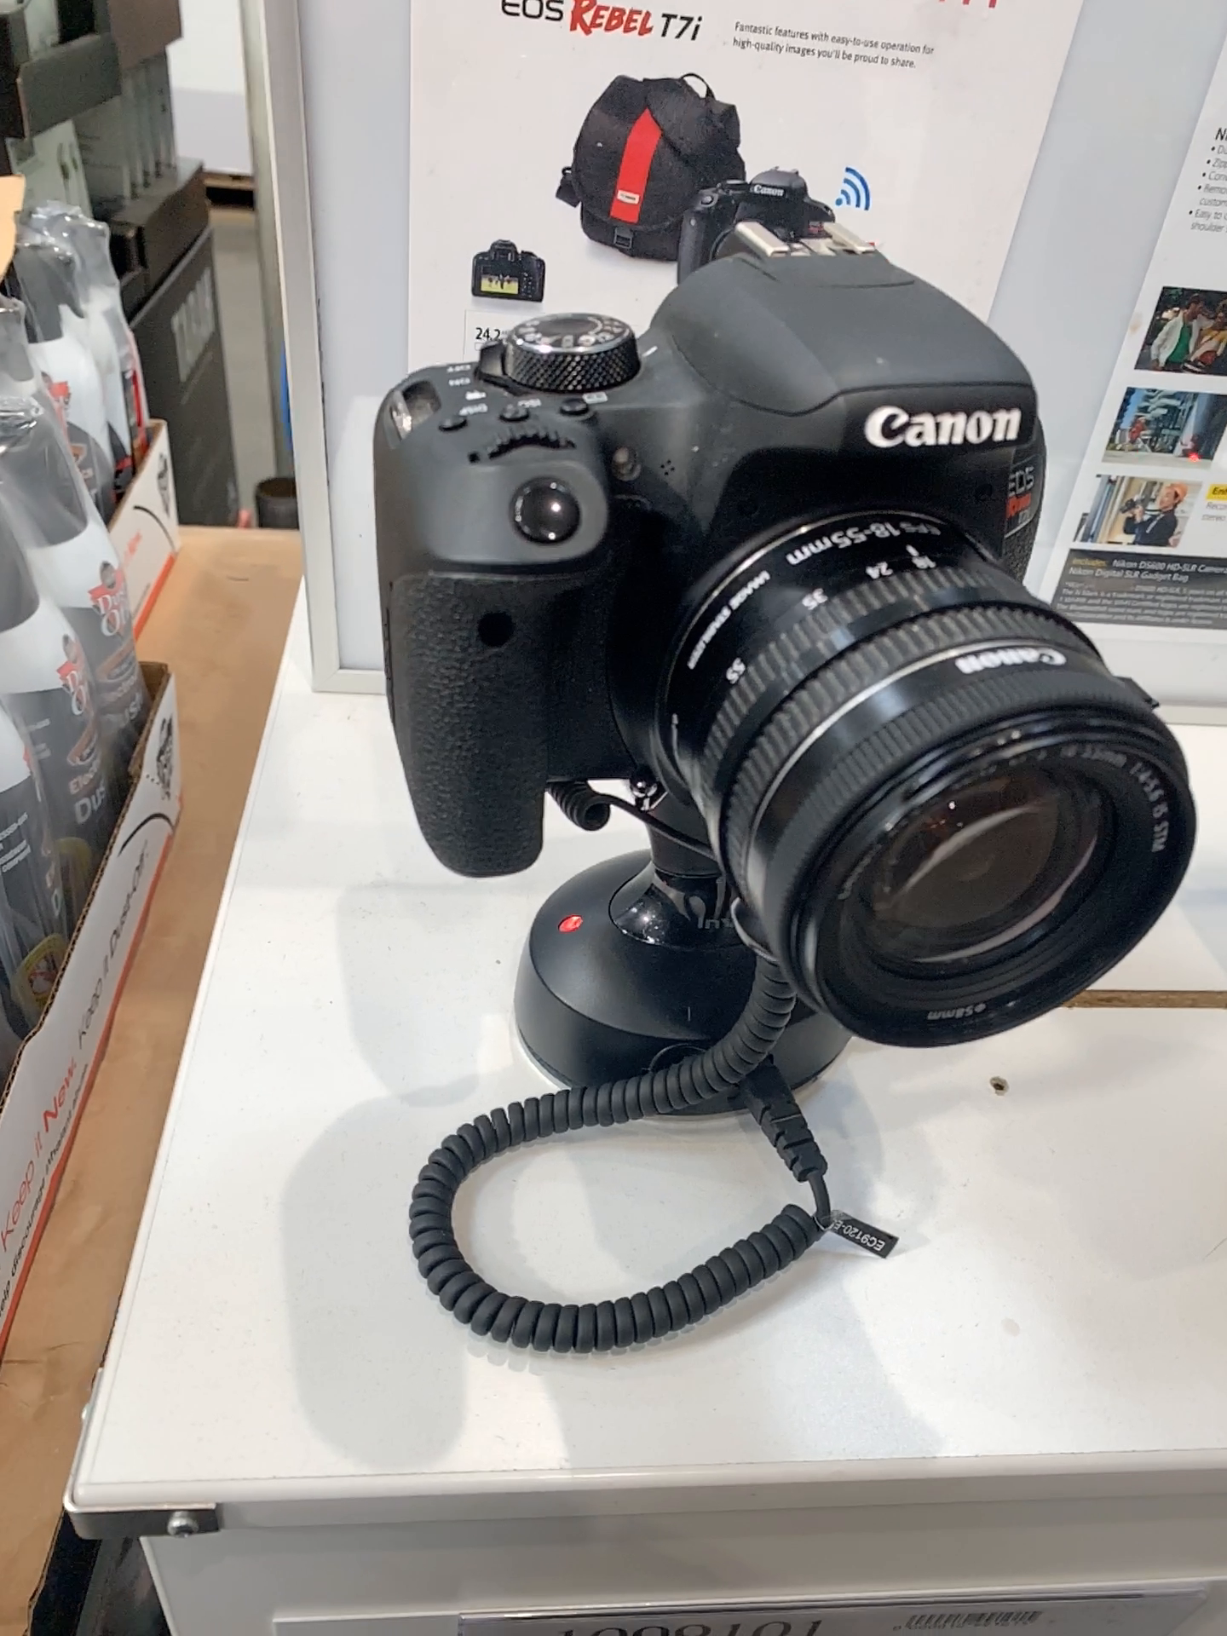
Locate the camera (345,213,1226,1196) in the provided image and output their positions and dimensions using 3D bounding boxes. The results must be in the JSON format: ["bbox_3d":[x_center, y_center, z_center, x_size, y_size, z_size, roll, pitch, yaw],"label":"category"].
[{"bbox_3d":[0.033,-0.029,0.199,0.134,0.089,0.121,-5,40,-14],"label":"camera"}]
